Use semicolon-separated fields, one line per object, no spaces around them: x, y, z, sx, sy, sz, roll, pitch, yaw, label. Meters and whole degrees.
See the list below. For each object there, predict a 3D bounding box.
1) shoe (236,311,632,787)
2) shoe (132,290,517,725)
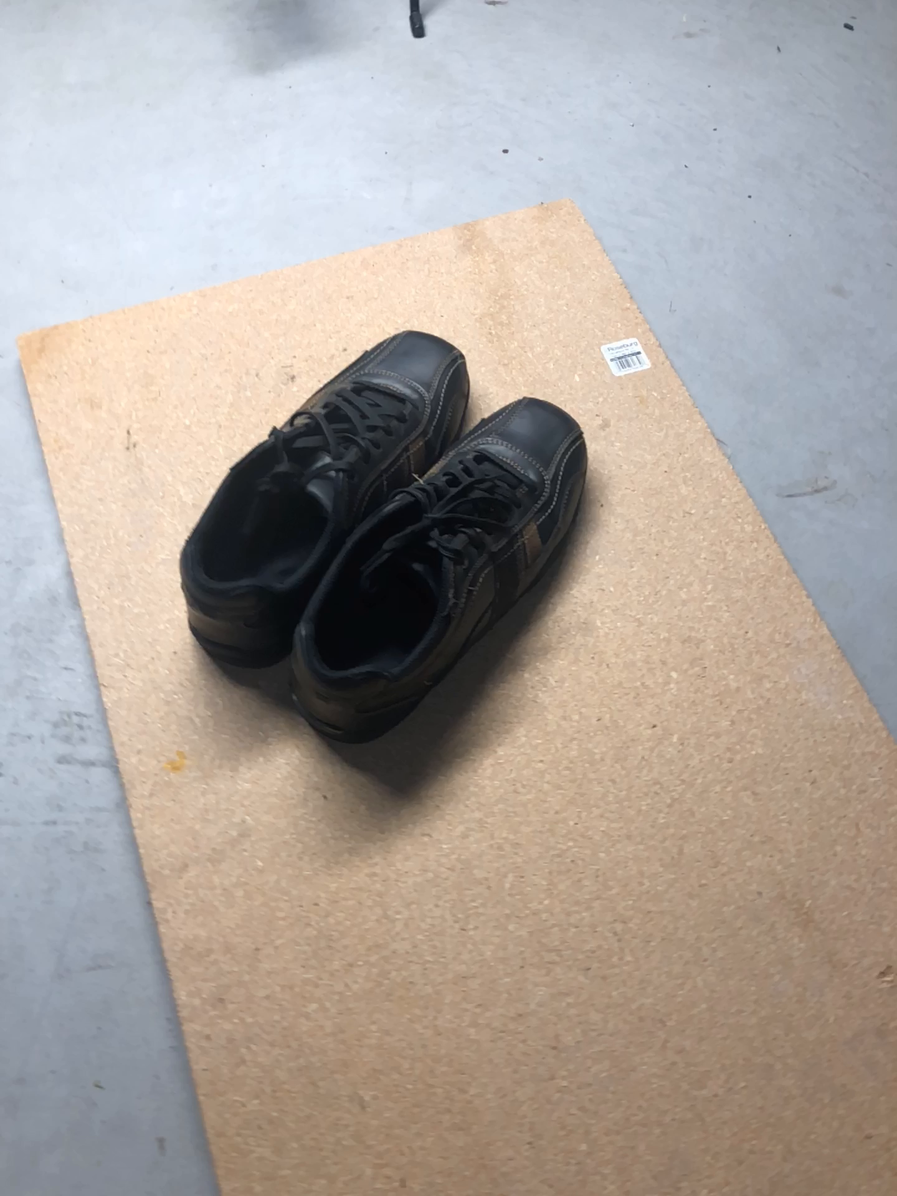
0.004;-0.039;0.640;0.100;0.100;0.290;27;66;20;shoe
-0.076;-0.072;0.702;0.100;0.100;0.300;30;63;10;shoe
